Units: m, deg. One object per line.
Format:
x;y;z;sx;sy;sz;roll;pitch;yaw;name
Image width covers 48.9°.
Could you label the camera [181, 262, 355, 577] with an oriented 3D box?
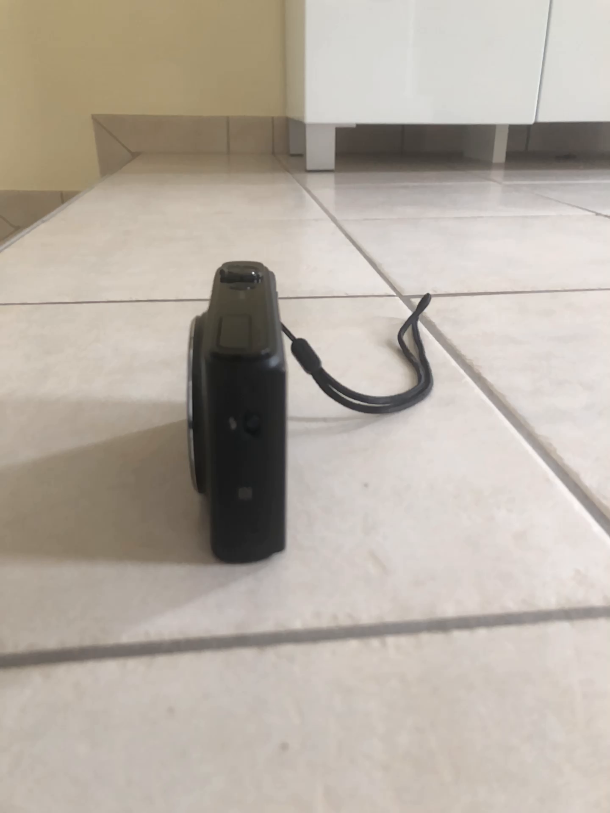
-0.011;-0.005;0.217;0.040;0.060;0.111;-1;24;-3;camera
